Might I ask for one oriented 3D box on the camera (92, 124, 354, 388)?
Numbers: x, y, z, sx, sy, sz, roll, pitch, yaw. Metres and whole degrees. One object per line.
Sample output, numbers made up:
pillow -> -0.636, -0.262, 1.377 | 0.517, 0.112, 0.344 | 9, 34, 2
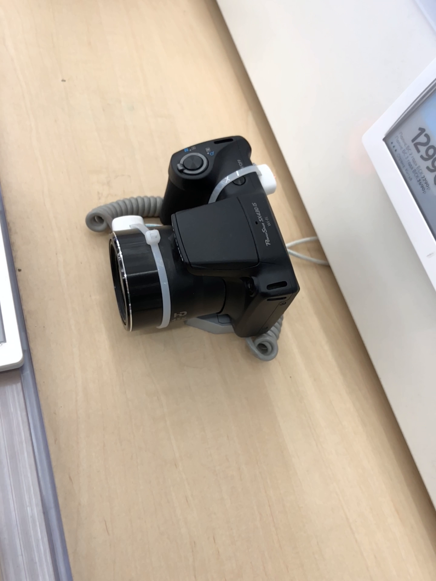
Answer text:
camera -> -0.003, -0.022, 0.265 | 0.093, 0.063, 0.117 | -9, 68, -29
